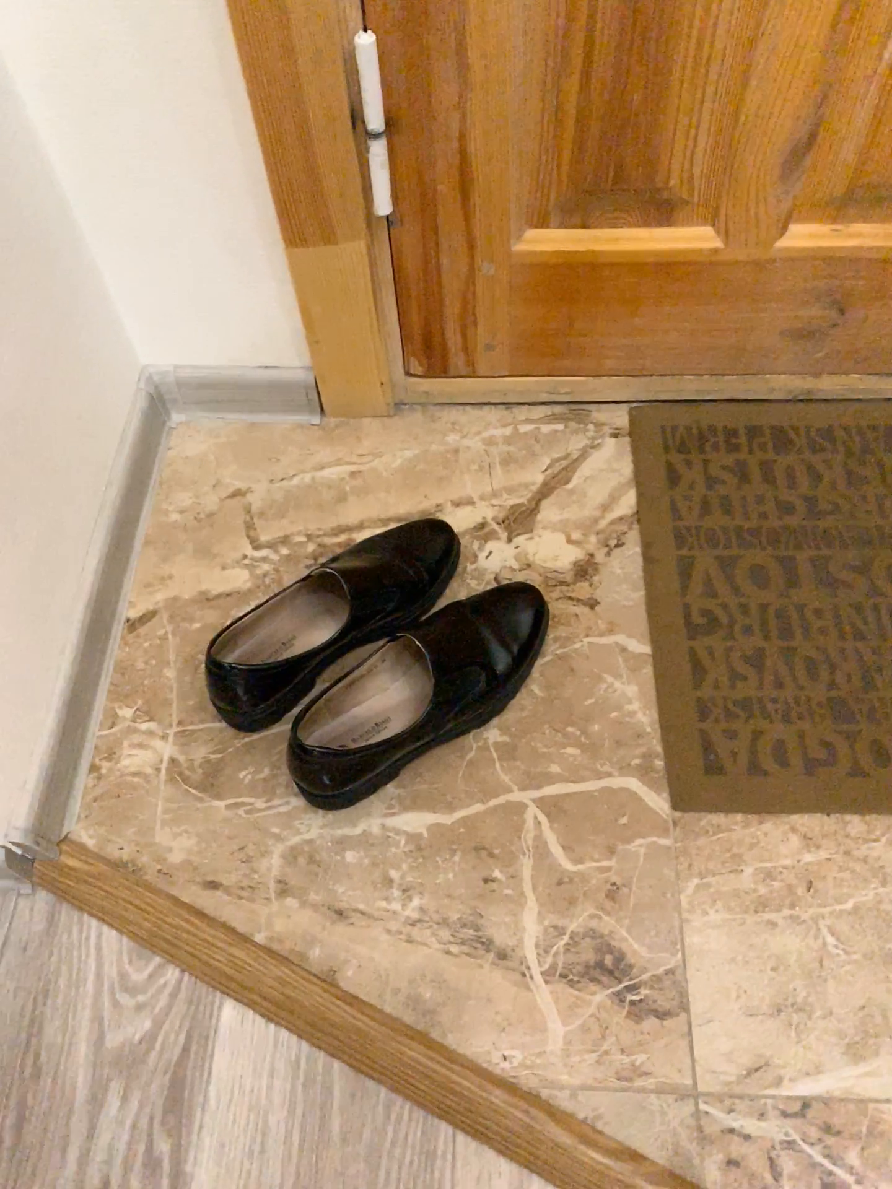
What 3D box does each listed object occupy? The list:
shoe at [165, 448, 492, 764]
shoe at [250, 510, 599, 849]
[{"bbox_3d":[-0.086,0.006,0.762,0.260,0.100,0.090,-40,64,-19],"label":"shoe"},{"bbox_3d":[-0.009,0.063,0.710,0.260,0.100,0.090,-38,63,-19],"label":"shoe"}]
